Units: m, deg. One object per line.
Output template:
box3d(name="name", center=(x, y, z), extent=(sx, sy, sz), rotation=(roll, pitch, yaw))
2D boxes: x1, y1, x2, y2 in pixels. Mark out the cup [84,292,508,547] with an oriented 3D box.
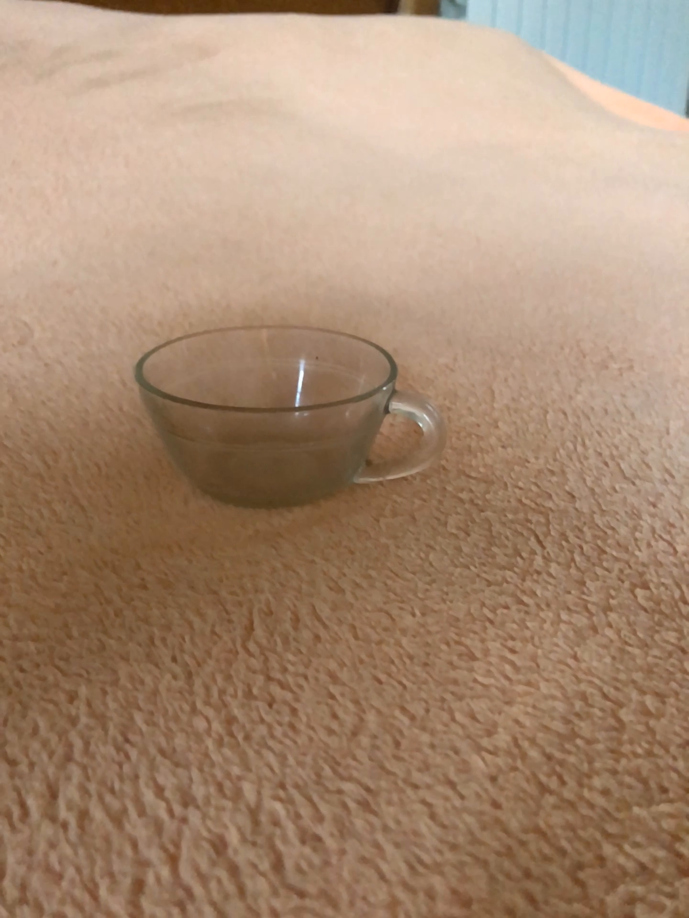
box3d(name="cup", center=(-0.008, -0.020, 0.249), extent=(0.110, 0.040, 0.091), rotation=(6, 28, 13))
